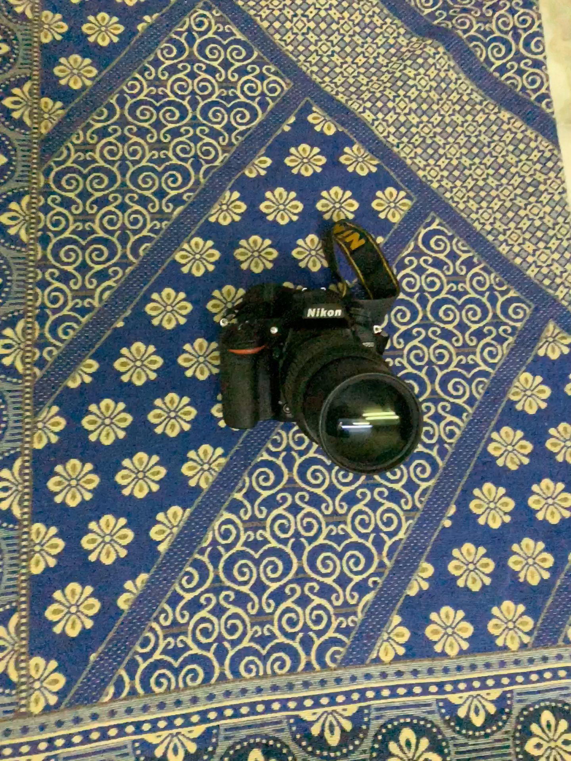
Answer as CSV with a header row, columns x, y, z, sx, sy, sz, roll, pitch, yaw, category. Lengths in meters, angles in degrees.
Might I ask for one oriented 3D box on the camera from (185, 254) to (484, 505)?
x,y,z,sx,sy,sz,roll,pitch,yaw,category
0.018,-0.005,0.408,0.160,0.191,0.130,-2,92,-6,camera
